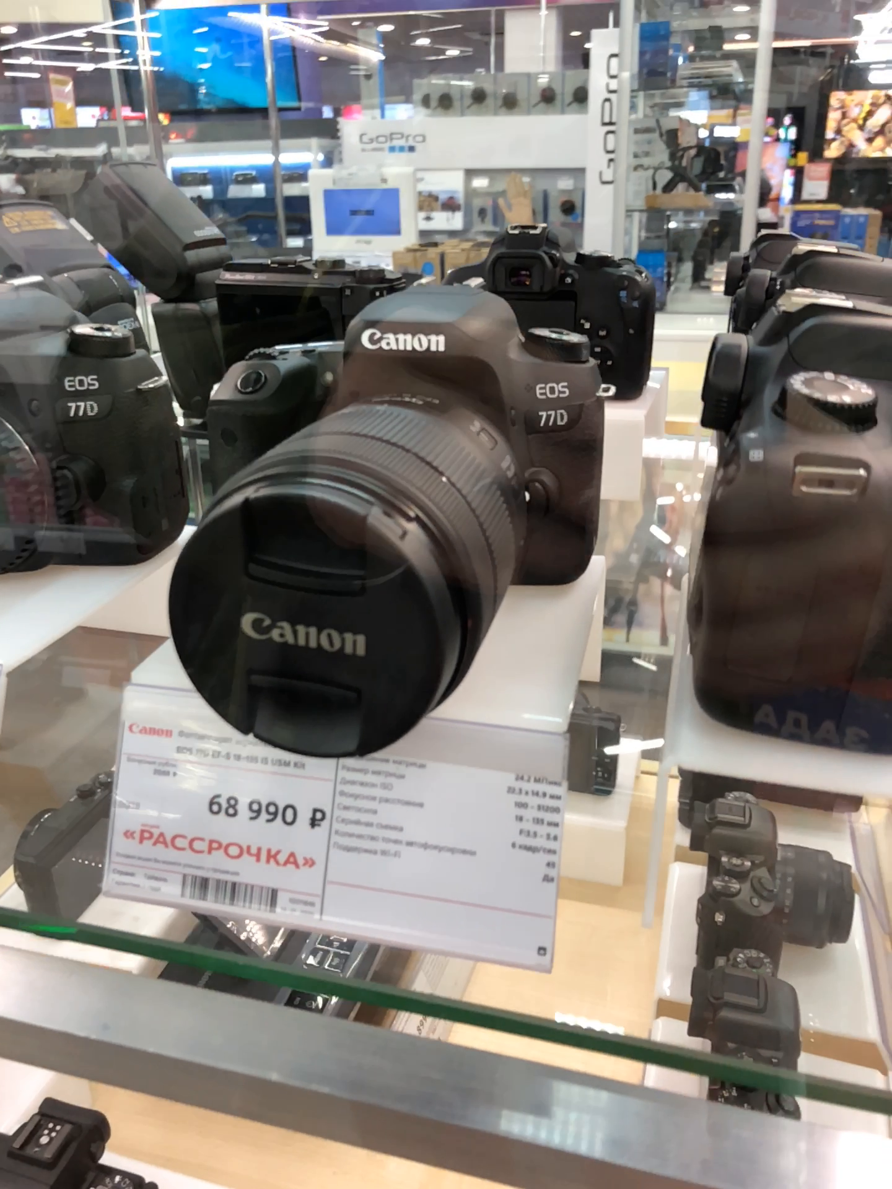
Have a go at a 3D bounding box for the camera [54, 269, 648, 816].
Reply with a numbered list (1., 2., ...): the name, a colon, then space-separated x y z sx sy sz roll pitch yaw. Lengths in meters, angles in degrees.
1. camera: -0.010 -0.036 0.322 0.132 0.119 0.168 5 24 14
